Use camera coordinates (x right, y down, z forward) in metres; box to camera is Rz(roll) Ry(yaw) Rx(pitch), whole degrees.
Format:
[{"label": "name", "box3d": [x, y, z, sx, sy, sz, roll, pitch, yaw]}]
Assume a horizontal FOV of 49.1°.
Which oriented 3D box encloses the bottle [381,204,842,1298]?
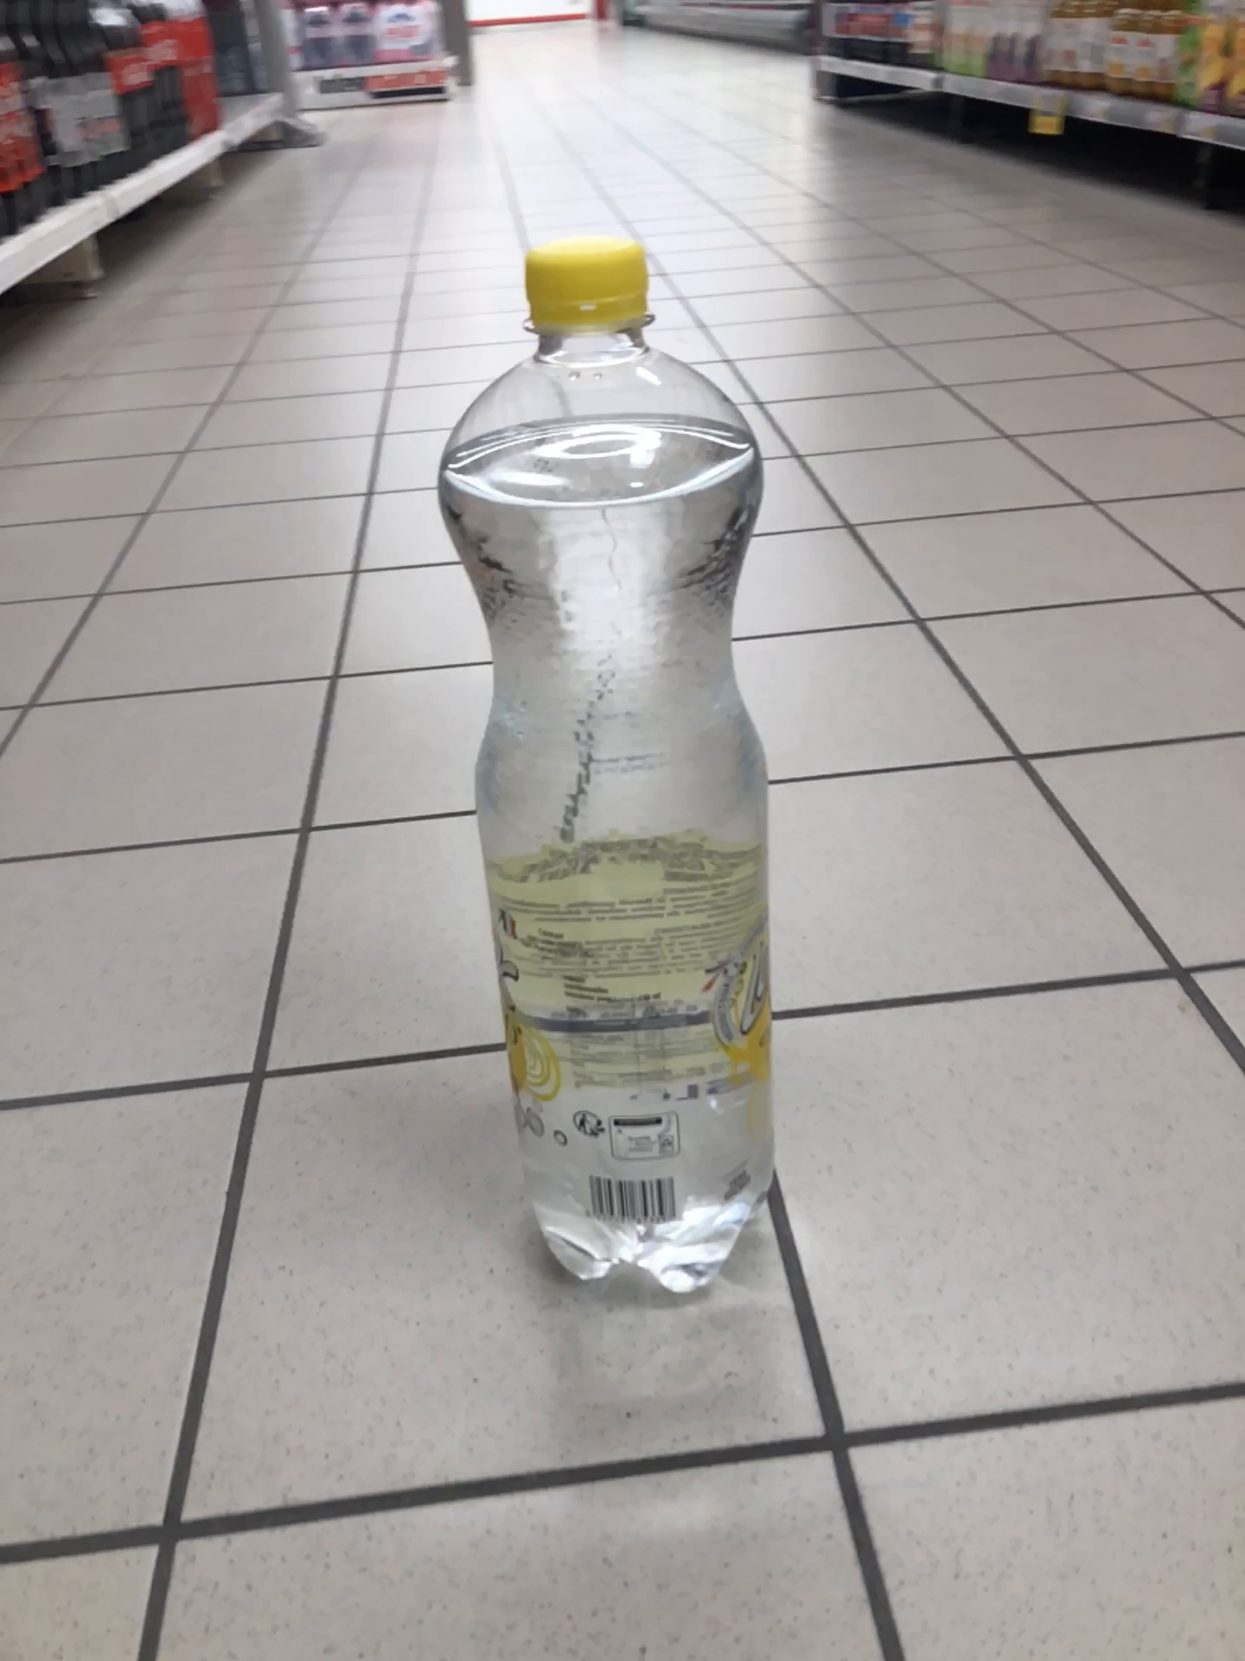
[{"label": "bottle", "box3d": [0.006, -0.009, 0.419, 0.100, 0.318, 0.101, -3, 30, 2]}]
